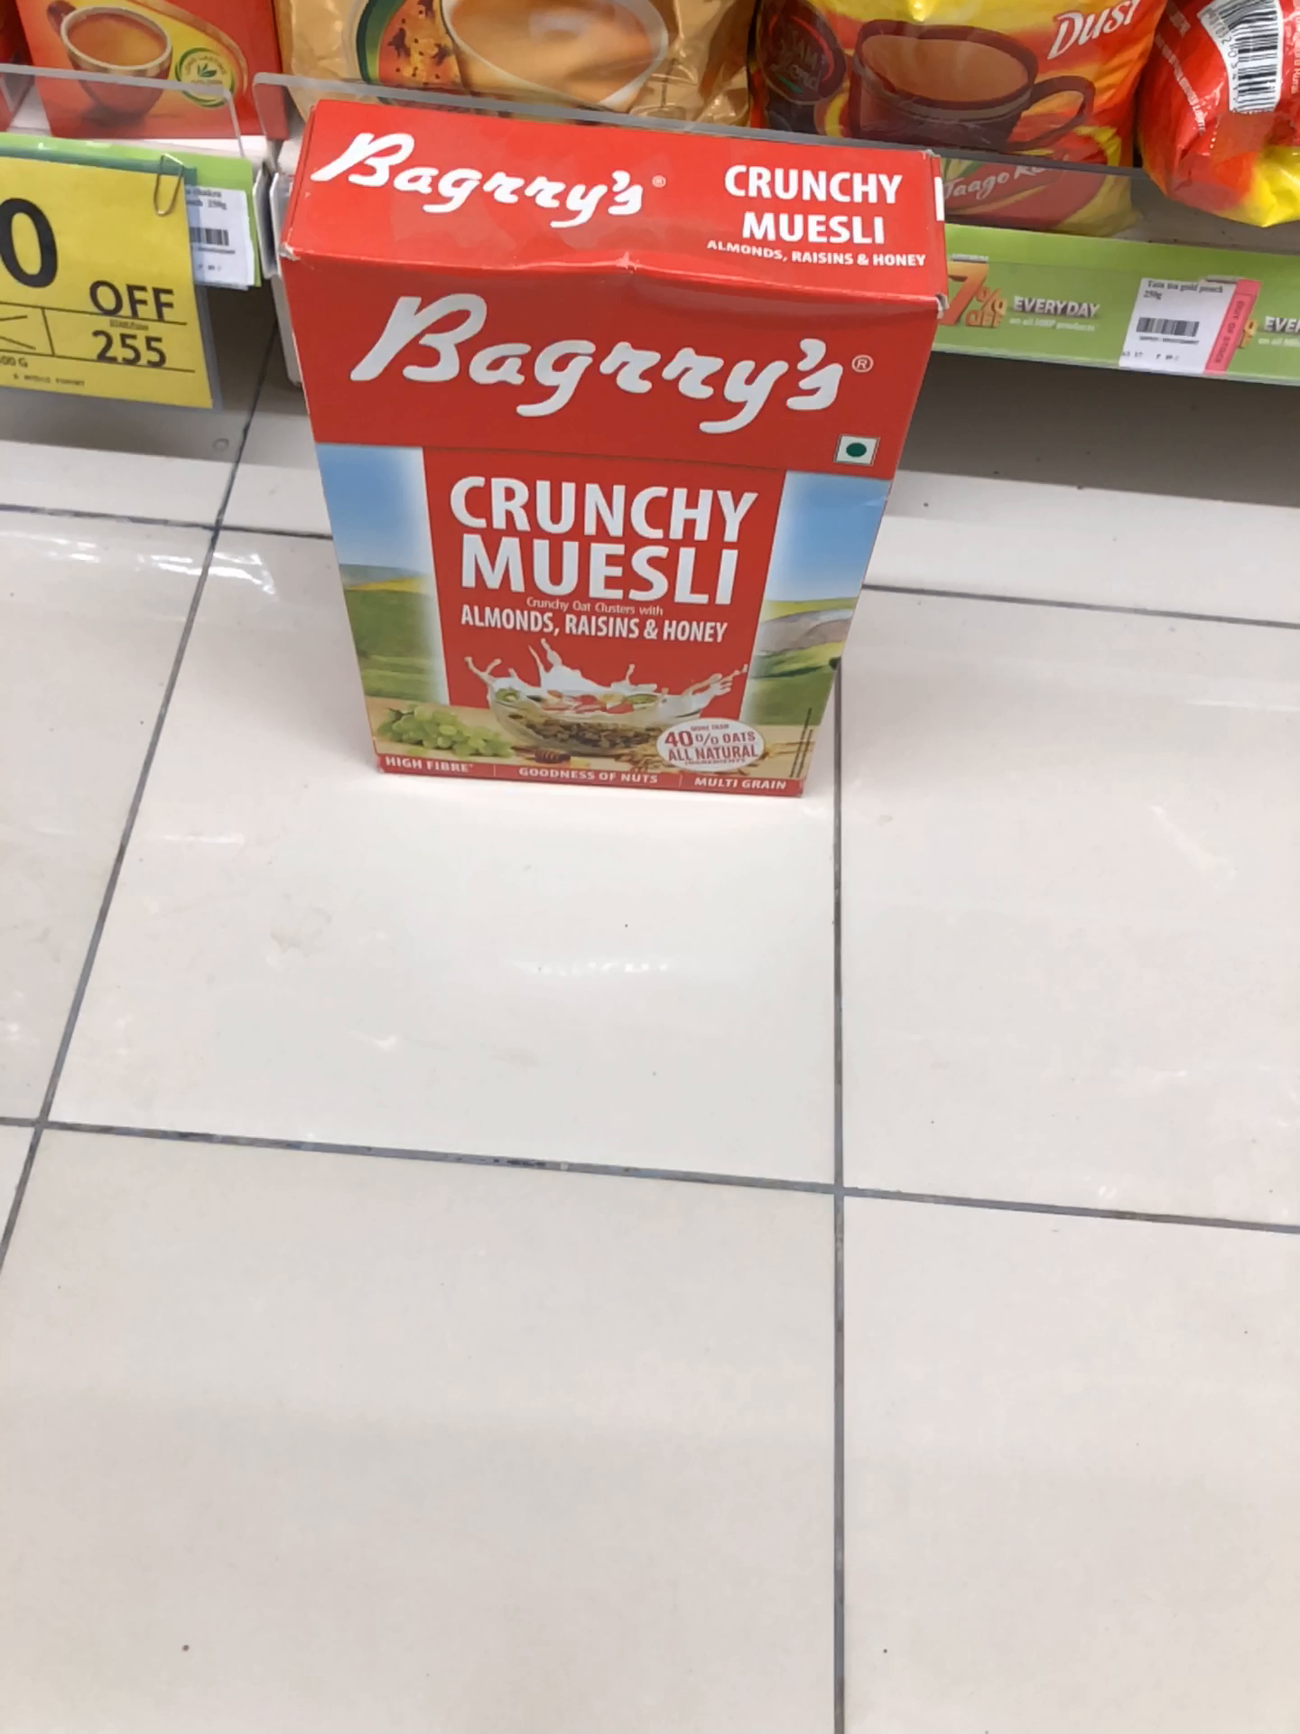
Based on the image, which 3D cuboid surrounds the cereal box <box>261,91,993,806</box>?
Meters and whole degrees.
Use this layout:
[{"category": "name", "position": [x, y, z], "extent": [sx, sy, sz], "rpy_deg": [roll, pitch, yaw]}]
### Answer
[{"category": "cereal box", "position": [-0.012, -0.127, 0.526], "extent": [0.200, 0.269, 0.070], "rpy_deg": [3, 61, -2]}]
